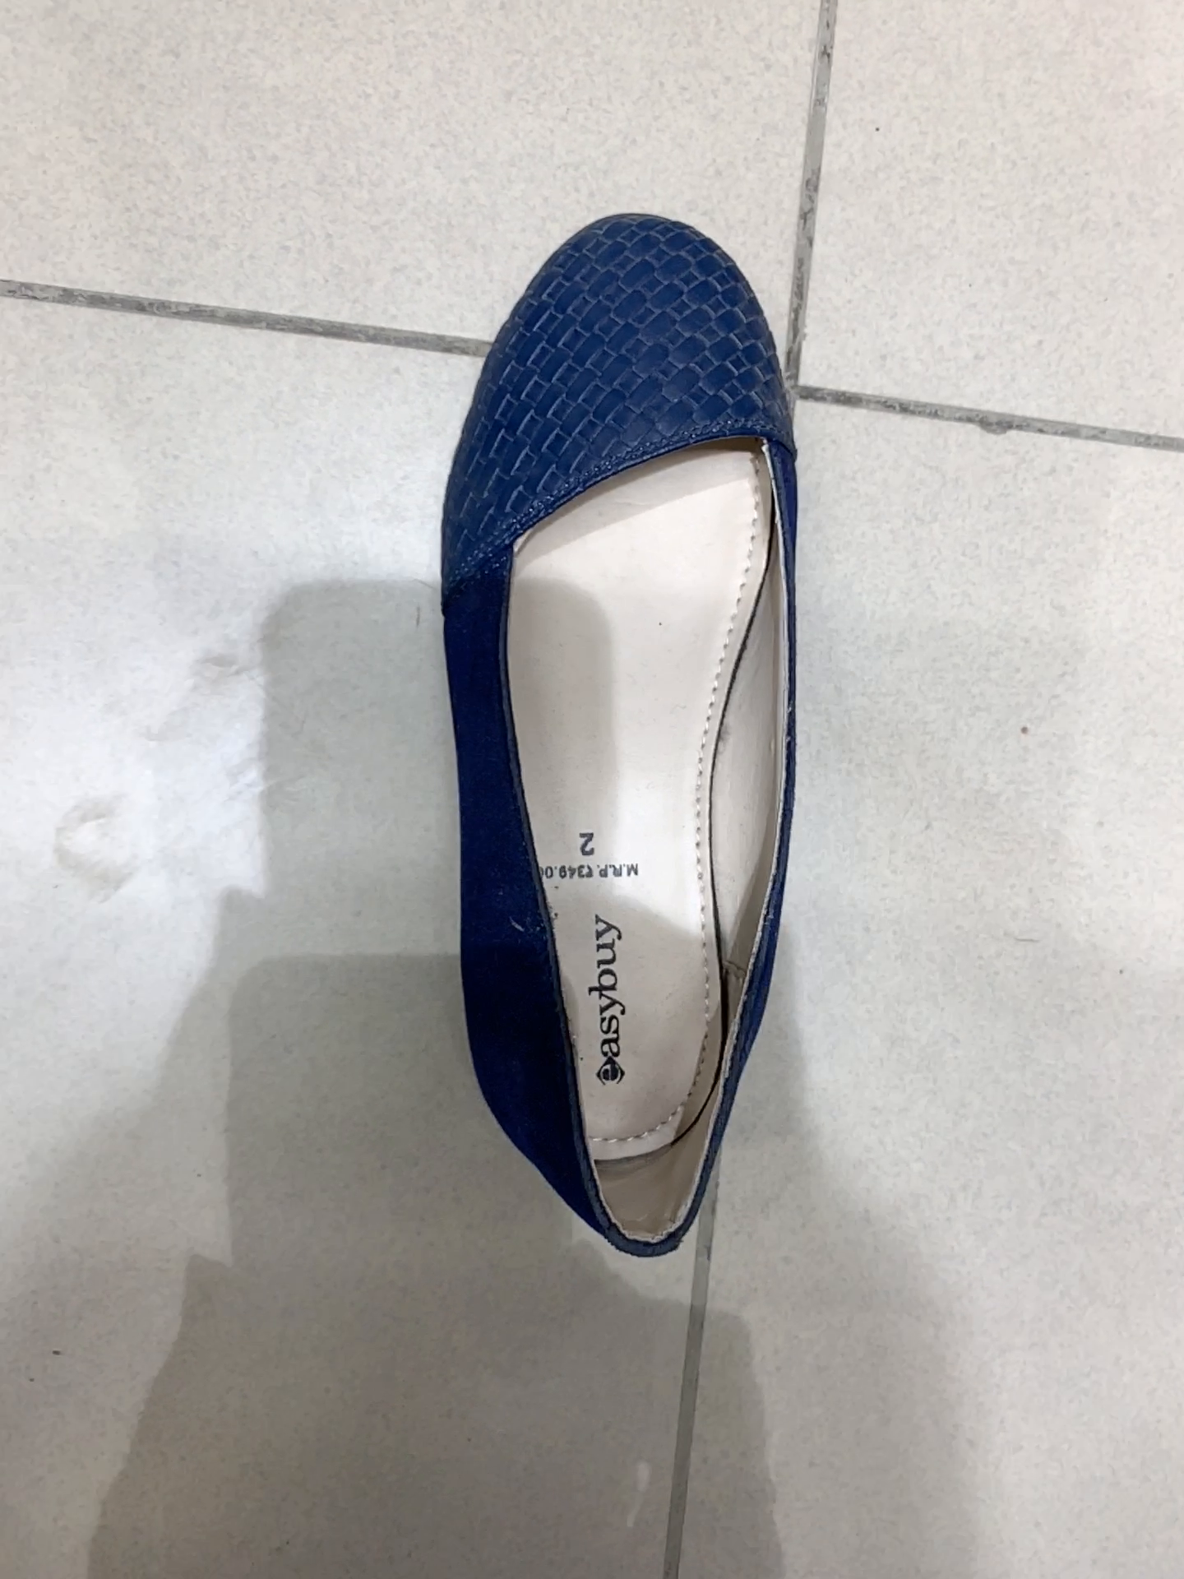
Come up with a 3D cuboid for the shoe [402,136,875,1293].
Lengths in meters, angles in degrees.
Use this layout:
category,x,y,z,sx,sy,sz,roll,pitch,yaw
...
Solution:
category,x,y,z,sx,sy,sz,roll,pitch,yaw
shoe,0.006,-0.013,0.267,0.090,0.060,0.220,0,92,-5
